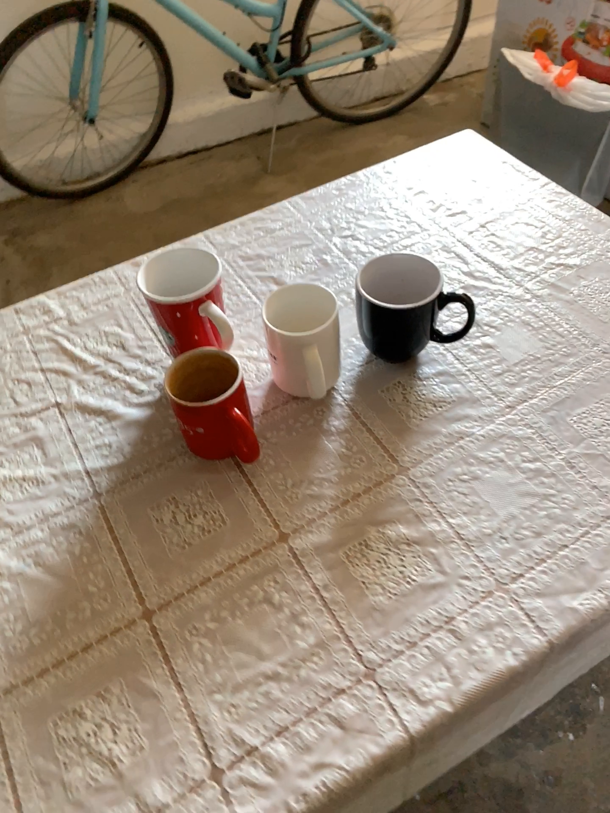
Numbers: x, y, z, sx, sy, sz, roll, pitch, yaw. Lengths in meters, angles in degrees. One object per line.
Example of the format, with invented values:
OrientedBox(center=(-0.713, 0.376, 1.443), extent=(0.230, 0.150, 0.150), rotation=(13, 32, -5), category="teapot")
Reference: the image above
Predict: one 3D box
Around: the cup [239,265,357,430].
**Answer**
OrientedBox(center=(-0.008, -0.071, 0.743), extent=(0.100, 0.110, 0.141), rotation=(-14, 52, -5), category="cup")

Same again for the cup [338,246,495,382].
OrientedBox(center=(0.133, -0.113, 0.751), extent=(0.160, 0.090, 0.110), rotation=(10, 54, 14), category="cup")

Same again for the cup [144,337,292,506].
OrientedBox(center=(-0.095, 0.014, 0.690), extent=(0.090, 0.090, 0.141), rotation=(-30, 55, -17), category="cup")

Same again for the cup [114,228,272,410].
OrientedBox(center=(-0.131, -0.105, 0.757), extent=(0.100, 0.139, 0.141), rotation=(-36, 57, -21), category="cup")
